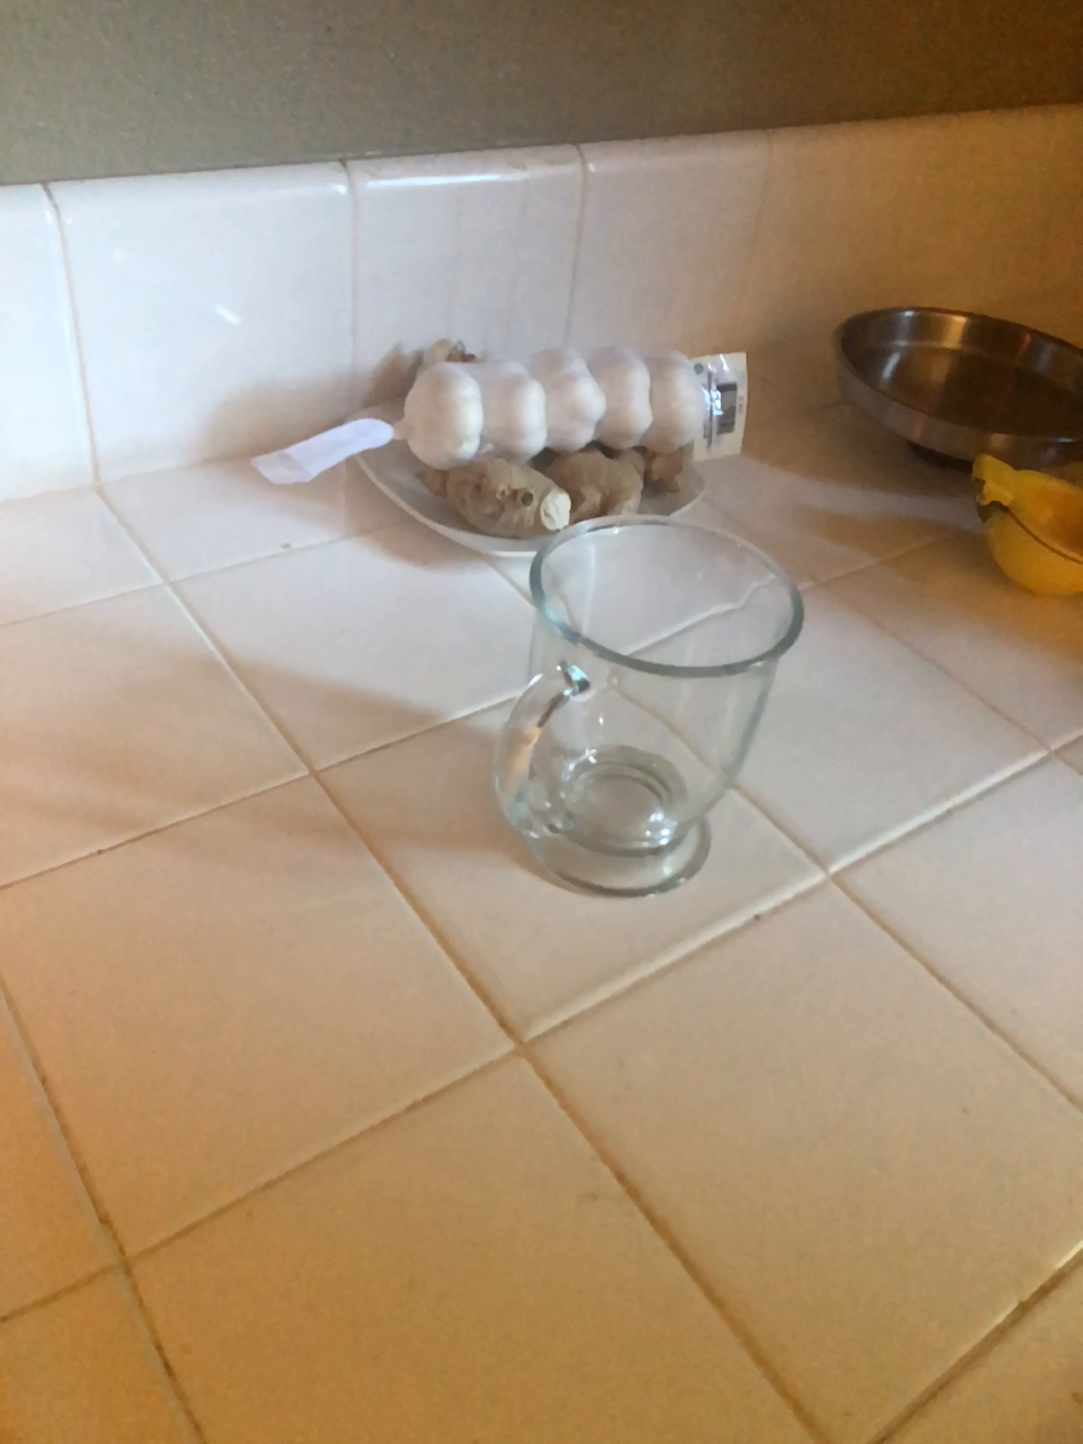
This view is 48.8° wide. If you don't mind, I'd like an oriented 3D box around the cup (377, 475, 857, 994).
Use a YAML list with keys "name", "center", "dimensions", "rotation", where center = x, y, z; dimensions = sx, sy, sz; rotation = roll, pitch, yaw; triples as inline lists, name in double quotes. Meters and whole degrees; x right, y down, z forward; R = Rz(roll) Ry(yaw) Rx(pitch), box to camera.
- name: "cup"
  center: [0.023, 0.000, 0.447]
  dimensions: [0.131, 0.119, 0.100]
  rotation: [-27, 52, -34]
